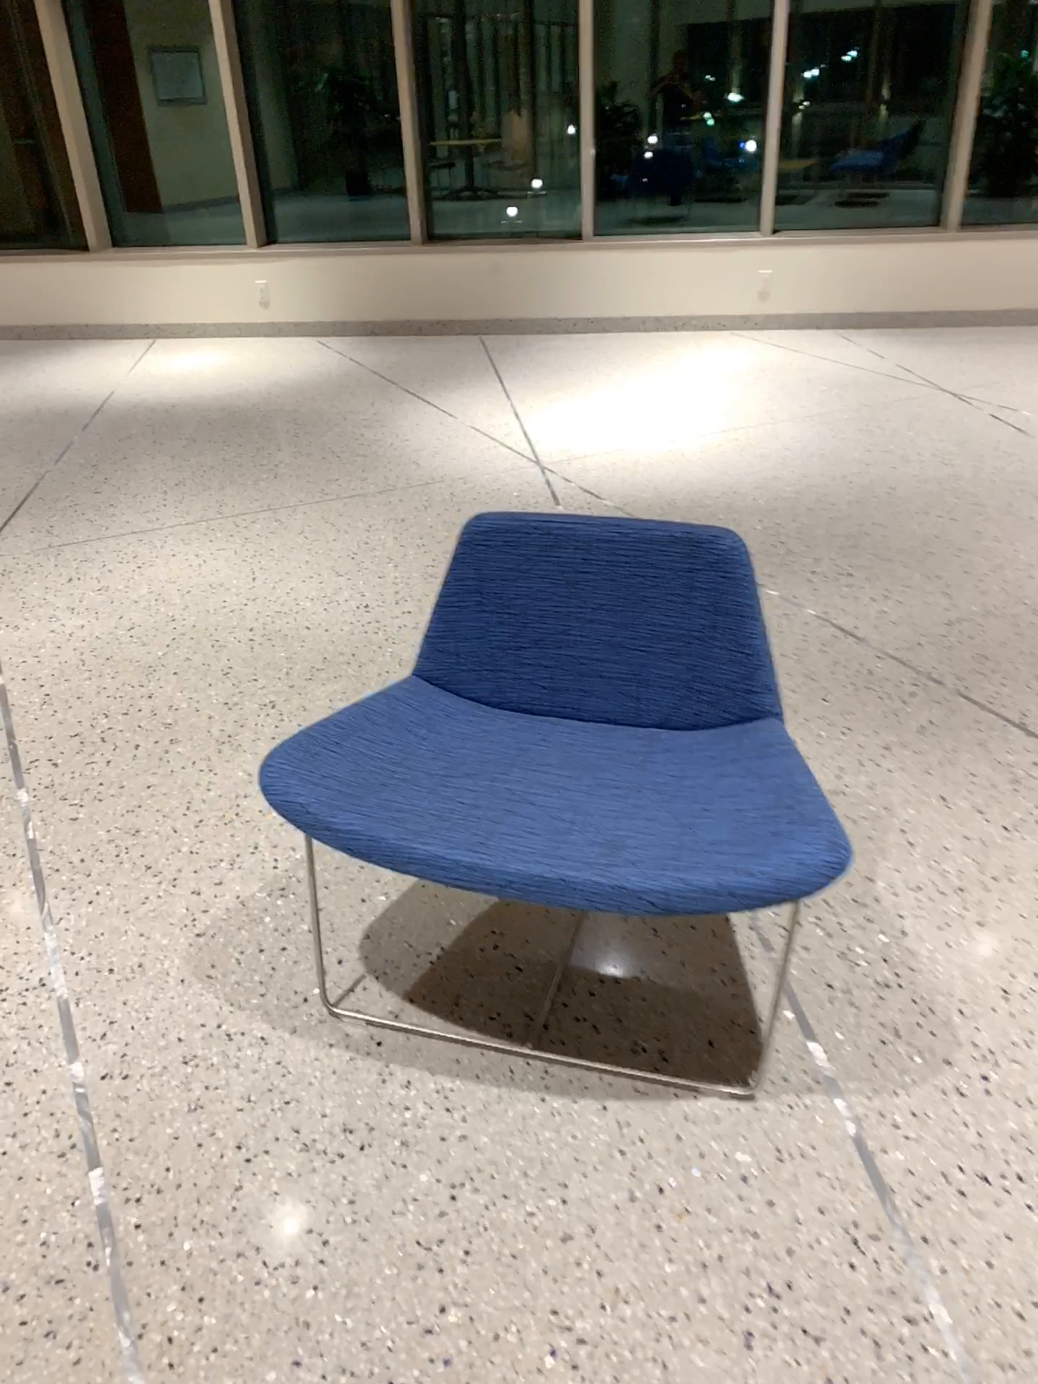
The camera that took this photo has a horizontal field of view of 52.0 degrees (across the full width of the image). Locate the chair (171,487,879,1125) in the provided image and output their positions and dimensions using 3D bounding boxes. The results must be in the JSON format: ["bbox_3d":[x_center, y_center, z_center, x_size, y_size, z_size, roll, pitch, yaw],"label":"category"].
[{"bbox_3d":[0.073,0.123,1.803,0.942,0.698,0.666,6,30,16],"label":"chair"}]
